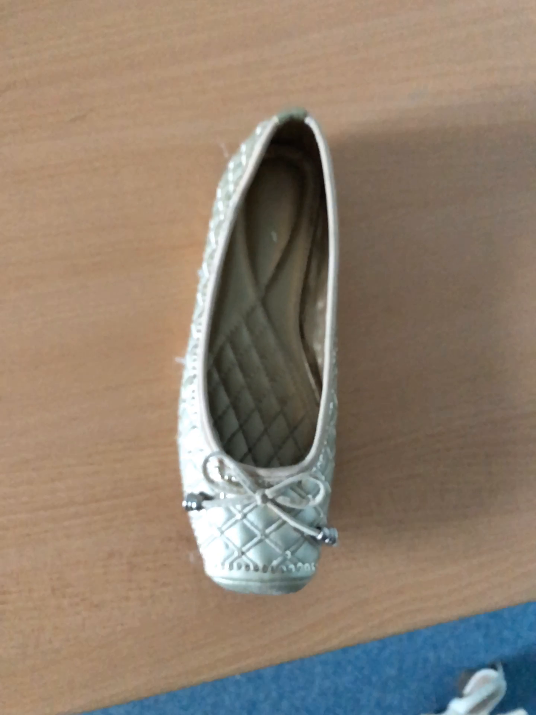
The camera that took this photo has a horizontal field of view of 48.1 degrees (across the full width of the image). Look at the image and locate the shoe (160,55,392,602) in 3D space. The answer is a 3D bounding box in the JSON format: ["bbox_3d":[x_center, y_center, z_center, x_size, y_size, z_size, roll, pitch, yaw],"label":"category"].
[{"bbox_3d":[0.004,-0.016,0.322,0.100,0.080,0.260,1,80,-3],"label":"shoe"}]
